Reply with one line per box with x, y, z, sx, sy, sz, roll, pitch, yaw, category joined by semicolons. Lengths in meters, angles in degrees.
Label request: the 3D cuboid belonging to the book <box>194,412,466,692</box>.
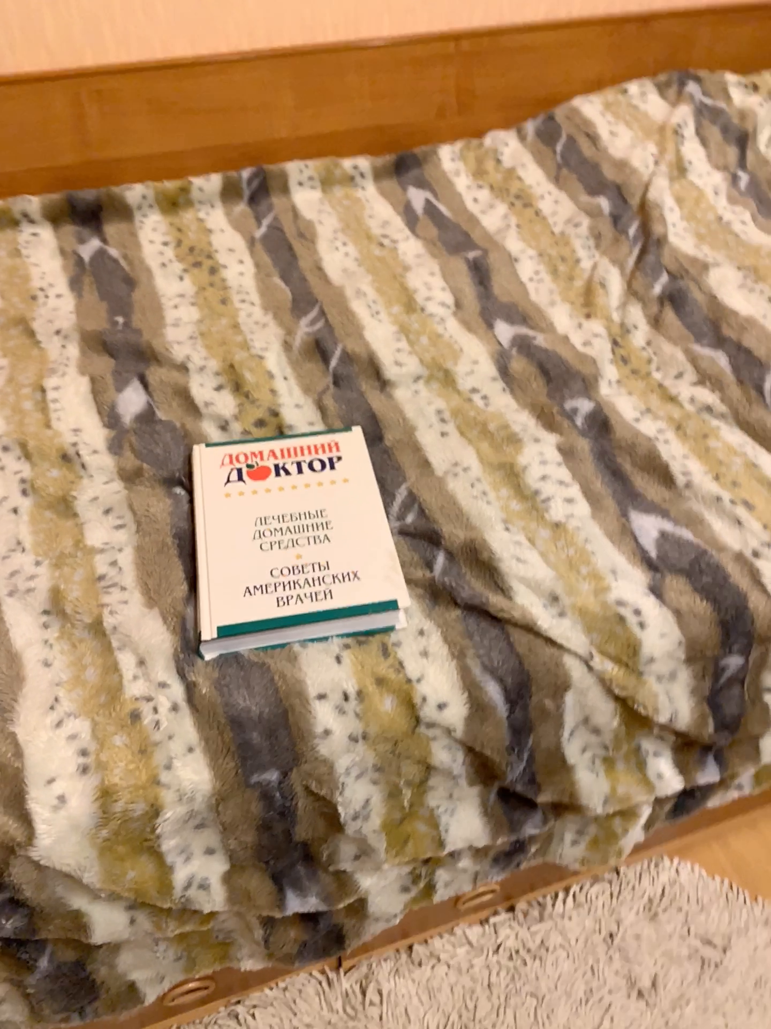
-0.058;0.018;0.666;0.190;0.040;0.242;-8;49;-8;book
